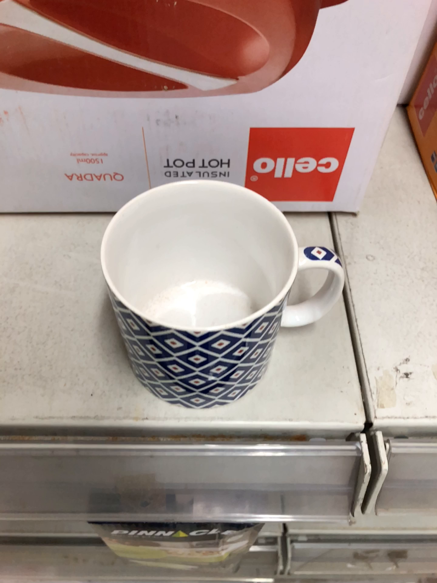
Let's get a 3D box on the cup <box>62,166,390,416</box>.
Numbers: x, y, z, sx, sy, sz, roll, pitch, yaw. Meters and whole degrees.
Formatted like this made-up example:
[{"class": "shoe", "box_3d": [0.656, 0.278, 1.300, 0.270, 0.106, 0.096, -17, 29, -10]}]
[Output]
[{"class": "cup", "box_3d": [0.002, 0.003, 0.220, 0.110, 0.080, 0.080, 1, 55, -2]}]
